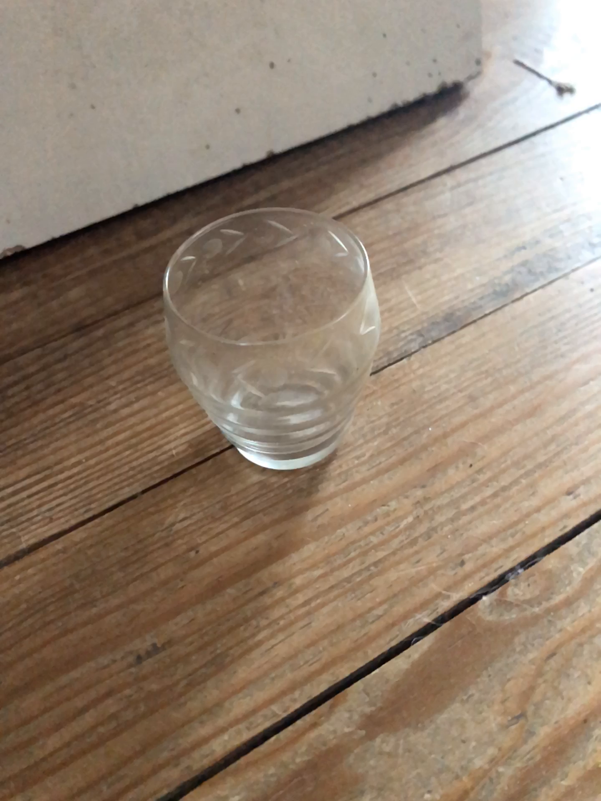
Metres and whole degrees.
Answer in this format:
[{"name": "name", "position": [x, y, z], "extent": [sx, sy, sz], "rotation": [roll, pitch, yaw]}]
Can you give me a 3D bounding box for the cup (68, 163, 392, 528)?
[{"name": "cup", "position": [-0.011, -0.013, 0.163], "extent": [0.050, 0.060, 0.050], "rotation": [-2, 51, 2]}]
